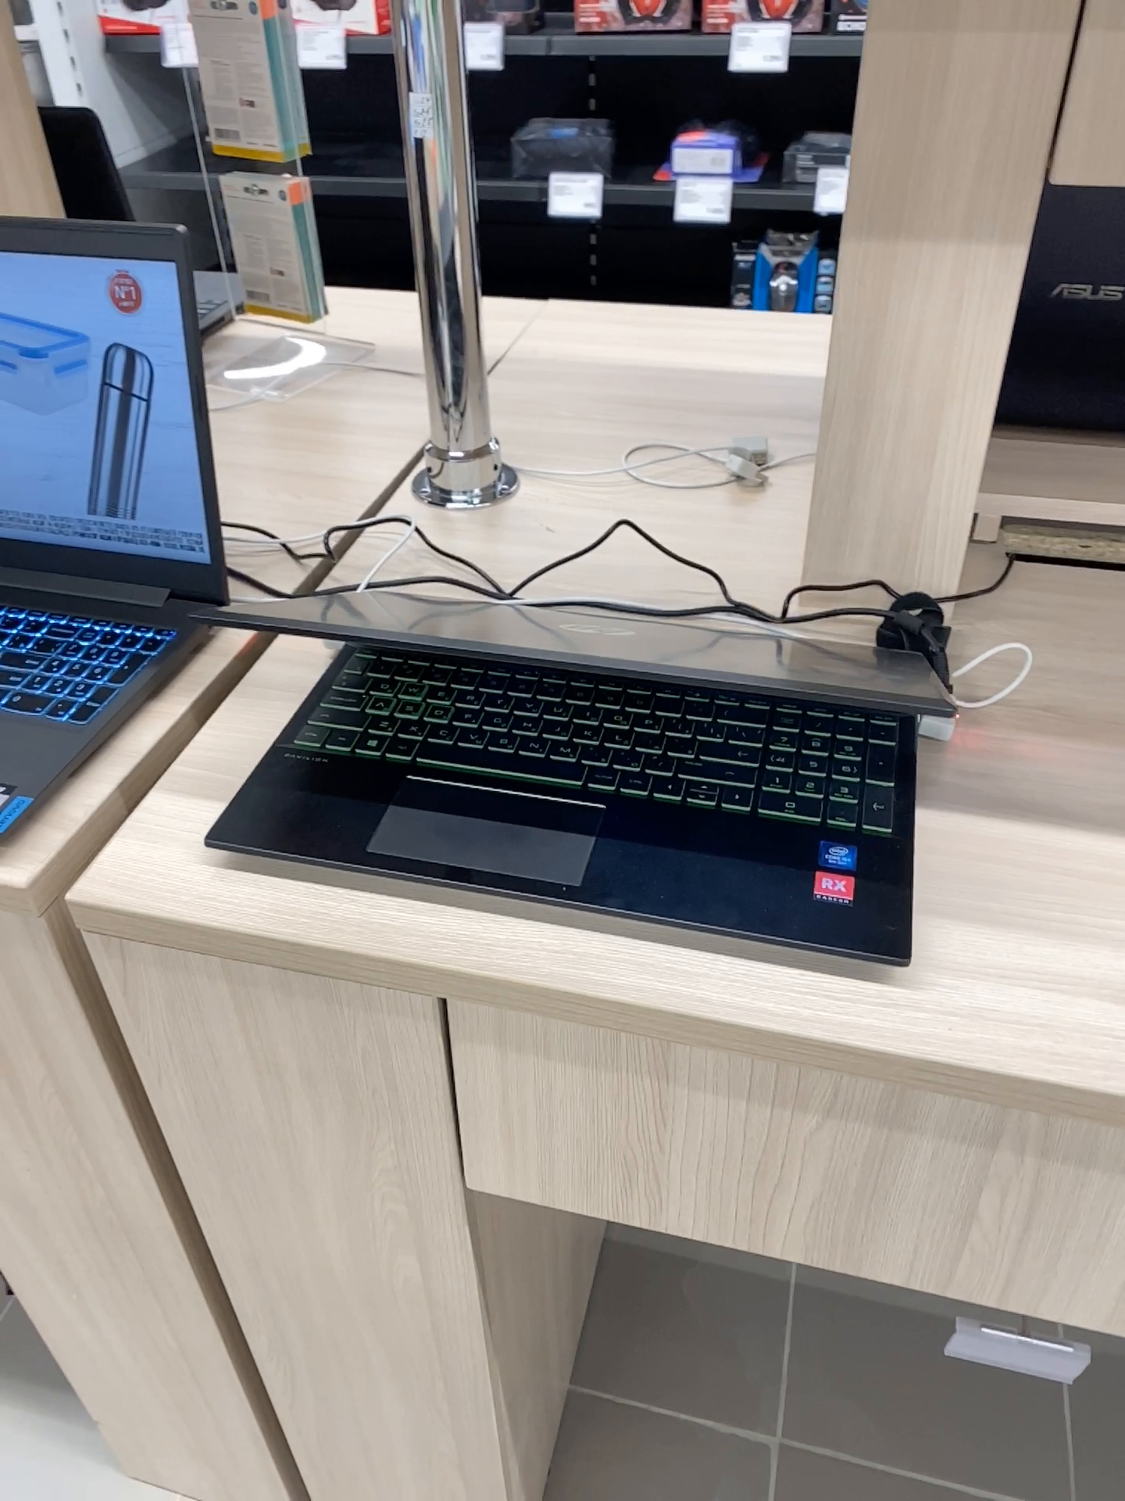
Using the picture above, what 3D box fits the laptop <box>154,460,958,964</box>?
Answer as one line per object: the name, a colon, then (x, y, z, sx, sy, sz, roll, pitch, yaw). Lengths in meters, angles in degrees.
laptop: (0.012, -0.042, 0.623, 0.364, 0.108, 0.236, 8, 39, 12)
